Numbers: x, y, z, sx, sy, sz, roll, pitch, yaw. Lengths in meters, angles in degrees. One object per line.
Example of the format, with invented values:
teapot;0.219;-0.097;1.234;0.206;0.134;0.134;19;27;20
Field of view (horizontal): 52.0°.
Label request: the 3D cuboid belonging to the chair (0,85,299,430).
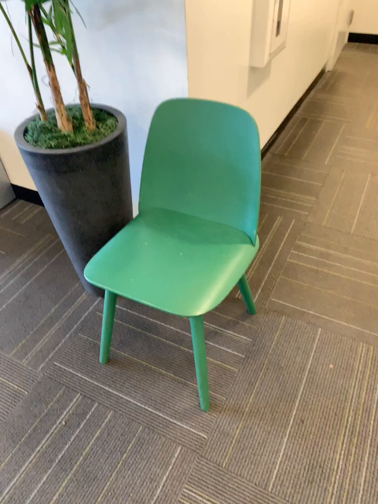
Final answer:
chair;-0.046;0.001;1.195;0.501;0.746;0.602;17;46;21
